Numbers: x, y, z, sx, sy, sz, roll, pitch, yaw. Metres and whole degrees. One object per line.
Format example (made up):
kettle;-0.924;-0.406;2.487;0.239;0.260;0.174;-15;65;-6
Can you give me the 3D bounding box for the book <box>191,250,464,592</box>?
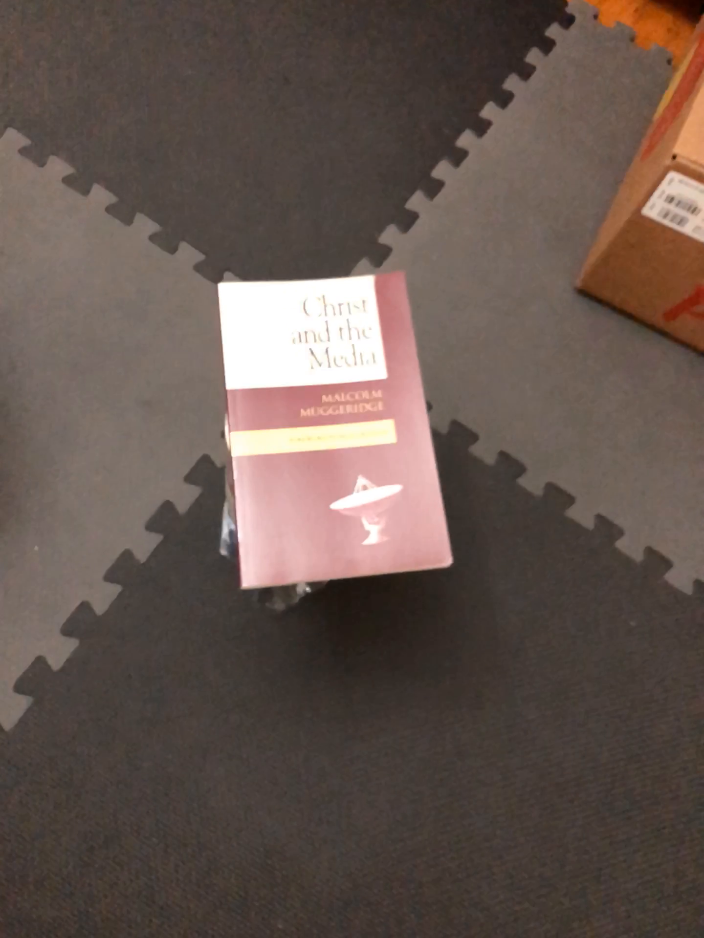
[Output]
book;-0.020;-0.037;0.487;0.140;0.020;0.210;-6;72;-10
